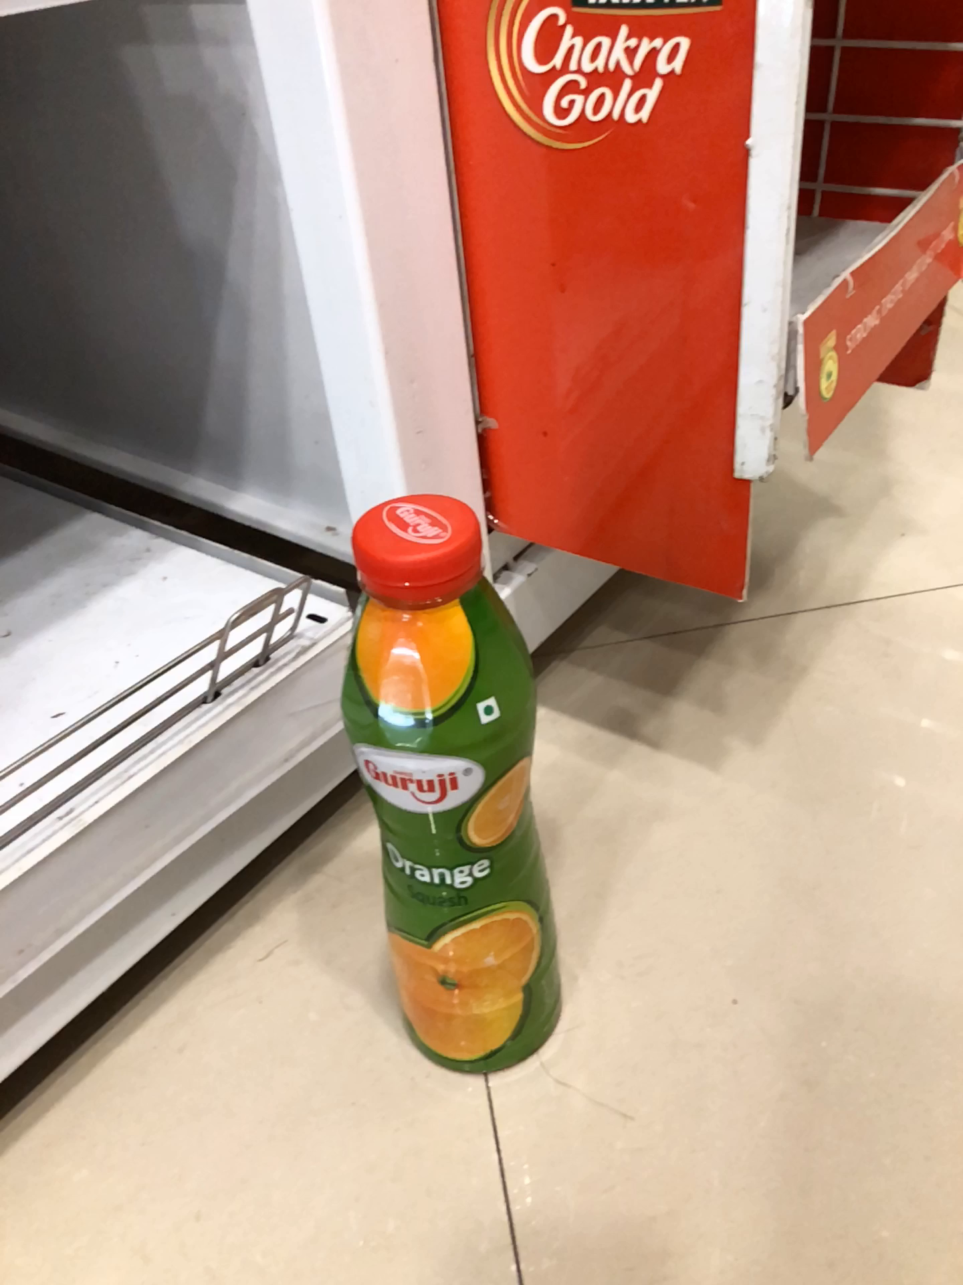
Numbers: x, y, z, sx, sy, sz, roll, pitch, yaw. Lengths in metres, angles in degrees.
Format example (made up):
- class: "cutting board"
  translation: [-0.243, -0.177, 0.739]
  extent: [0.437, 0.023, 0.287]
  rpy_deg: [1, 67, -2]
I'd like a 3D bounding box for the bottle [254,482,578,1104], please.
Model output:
- class: "bottle"
  translation: [-0.011, 0.065, 0.390]
  extent: [0.070, 0.238, 0.070]
  rpy_deg: [-5, 36, 3]
